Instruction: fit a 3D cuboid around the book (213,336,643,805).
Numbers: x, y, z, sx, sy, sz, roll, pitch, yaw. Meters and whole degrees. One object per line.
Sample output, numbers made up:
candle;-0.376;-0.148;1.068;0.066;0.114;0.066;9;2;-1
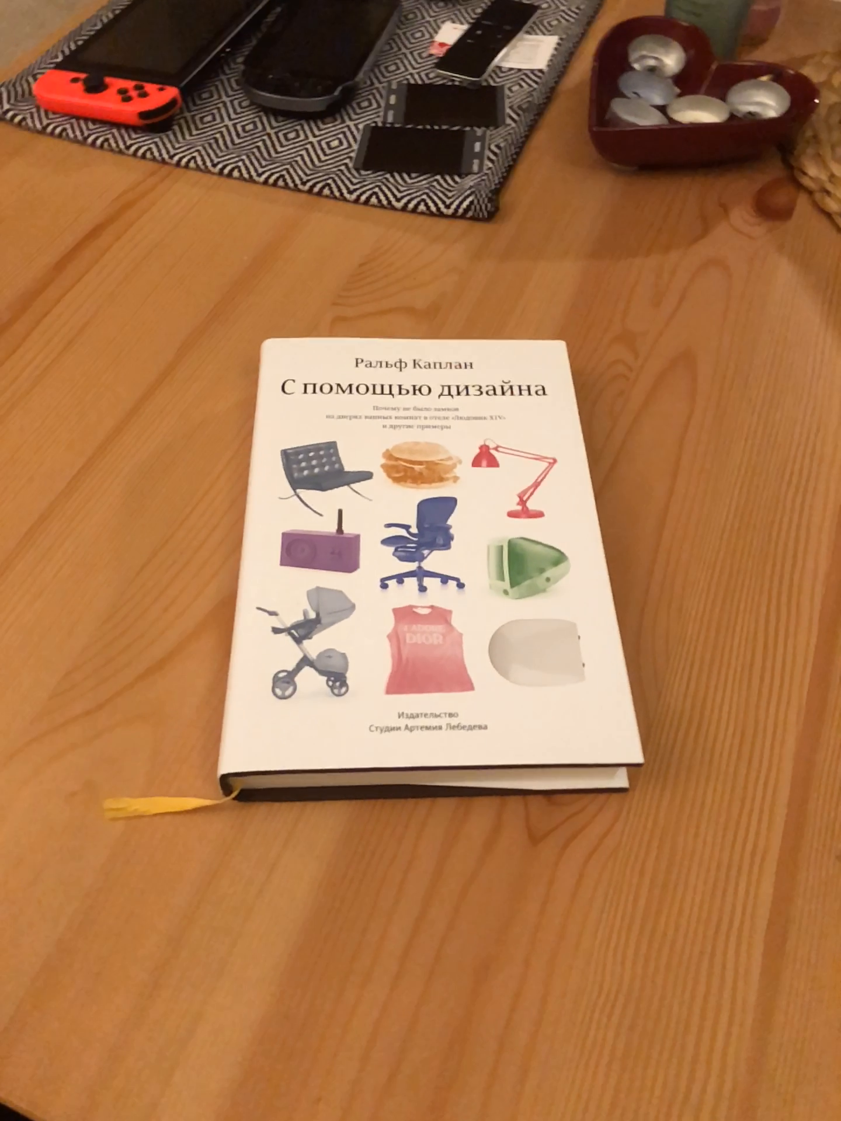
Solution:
book;0.000;-0.010;0.407;0.152;0.034;0.227;0;54;-2
